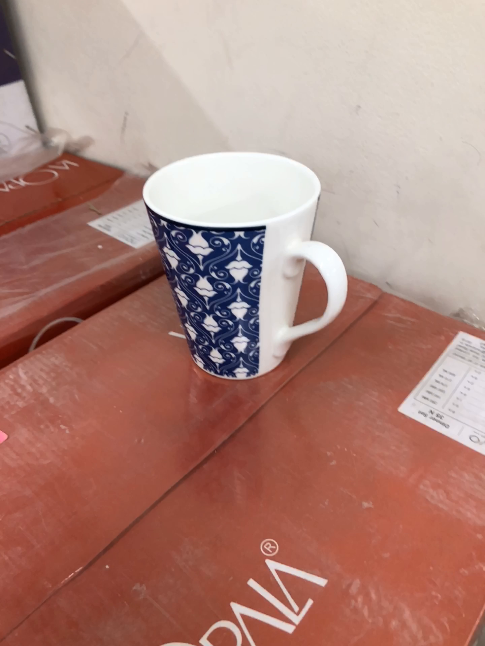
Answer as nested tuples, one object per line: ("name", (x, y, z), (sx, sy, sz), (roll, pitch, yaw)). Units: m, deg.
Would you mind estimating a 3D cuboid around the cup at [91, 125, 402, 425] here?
("cup", (0.003, -0.031, 0.281), (0.120, 0.099, 0.081), (21, 43, 26))
